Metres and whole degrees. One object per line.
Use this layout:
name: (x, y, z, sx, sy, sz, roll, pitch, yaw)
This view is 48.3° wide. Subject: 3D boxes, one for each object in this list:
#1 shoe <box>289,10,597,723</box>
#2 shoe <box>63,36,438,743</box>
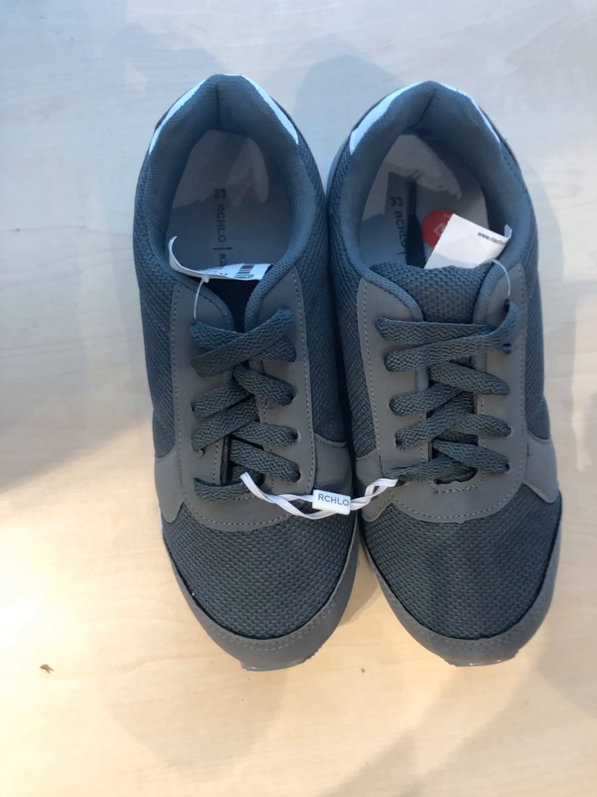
shoe: (0.065, -0.013, 0.285, 0.100, 0.100, 0.240, -10, 85, -1)
shoe: (-0.019, -0.005, 0.276, 0.100, 0.100, 0.230, -7, 85, -1)
